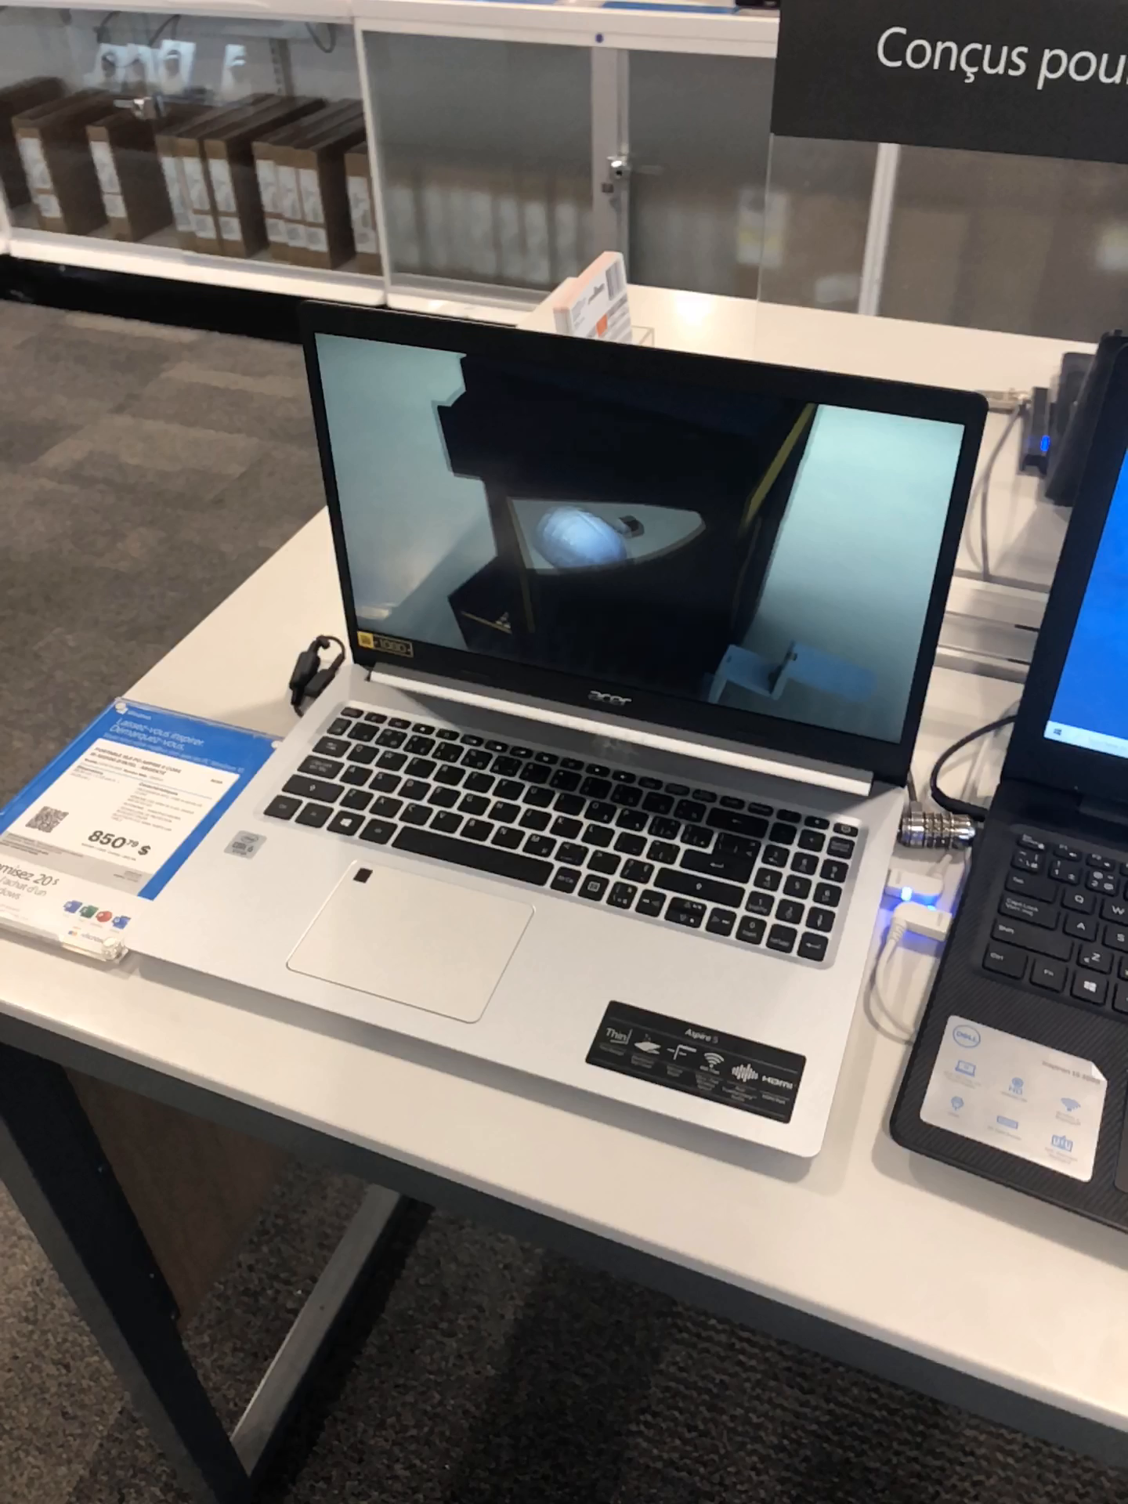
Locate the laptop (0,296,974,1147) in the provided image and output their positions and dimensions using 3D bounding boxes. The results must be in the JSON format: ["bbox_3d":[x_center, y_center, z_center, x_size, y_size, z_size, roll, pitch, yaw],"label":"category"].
[{"bbox_3d":[-0.017,-0.039,0.607,0.349,0.229,0.267,13,44,18],"label":"laptop"}]
